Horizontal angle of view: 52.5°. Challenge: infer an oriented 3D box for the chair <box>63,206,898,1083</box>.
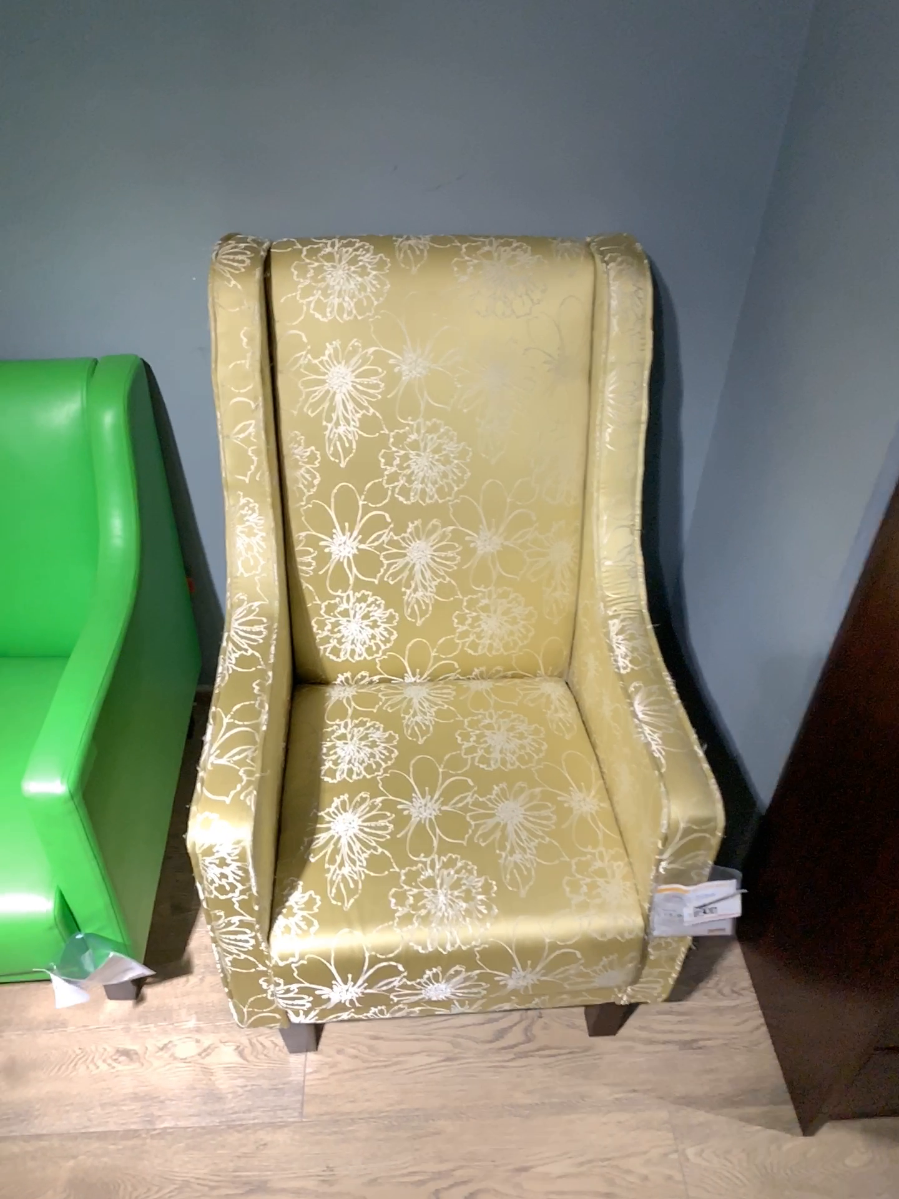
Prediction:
[{"bbox_3d":[0.014,0.042,1.487,0.780,1.025,0.954,-1,39,-4],"label":"chair"}]
